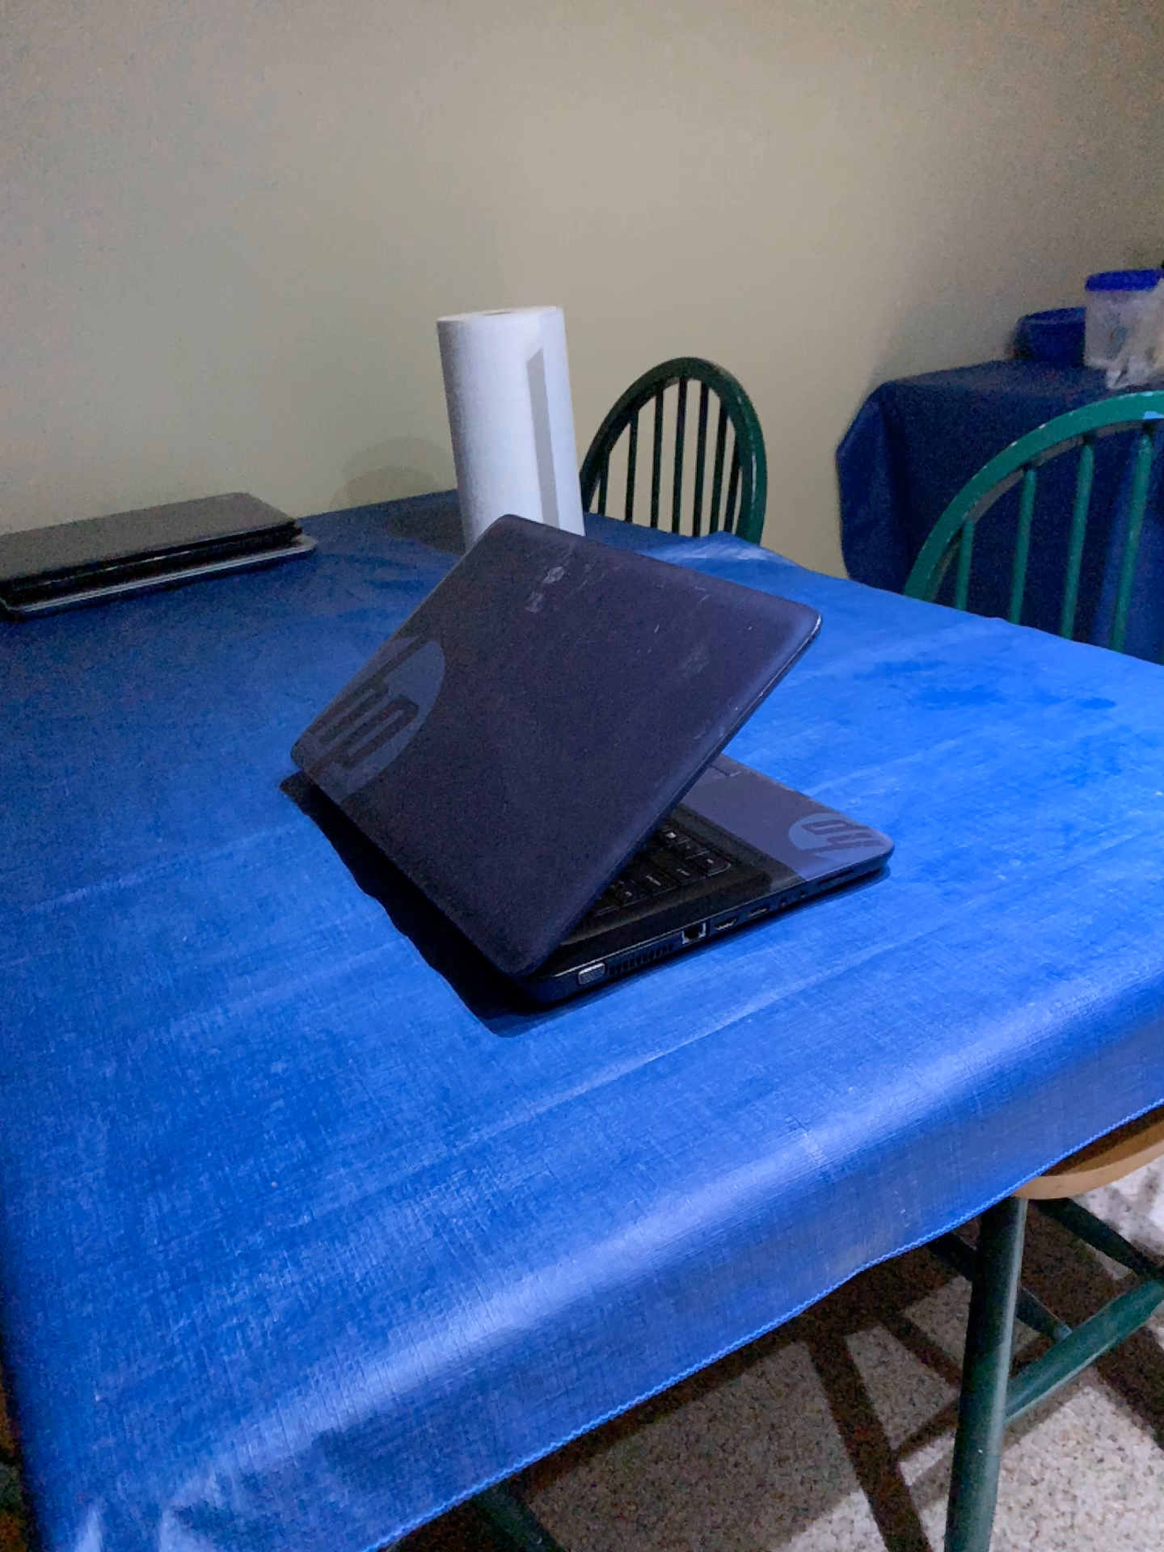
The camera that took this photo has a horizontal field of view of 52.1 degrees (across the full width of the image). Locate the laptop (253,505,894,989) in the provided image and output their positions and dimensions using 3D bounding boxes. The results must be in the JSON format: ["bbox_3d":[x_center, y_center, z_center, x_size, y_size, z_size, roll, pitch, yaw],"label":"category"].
[{"bbox_3d":[-0.023,-0.053,0.743,0.239,0.141,0.364,-17,27,-26],"label":"laptop"}]
